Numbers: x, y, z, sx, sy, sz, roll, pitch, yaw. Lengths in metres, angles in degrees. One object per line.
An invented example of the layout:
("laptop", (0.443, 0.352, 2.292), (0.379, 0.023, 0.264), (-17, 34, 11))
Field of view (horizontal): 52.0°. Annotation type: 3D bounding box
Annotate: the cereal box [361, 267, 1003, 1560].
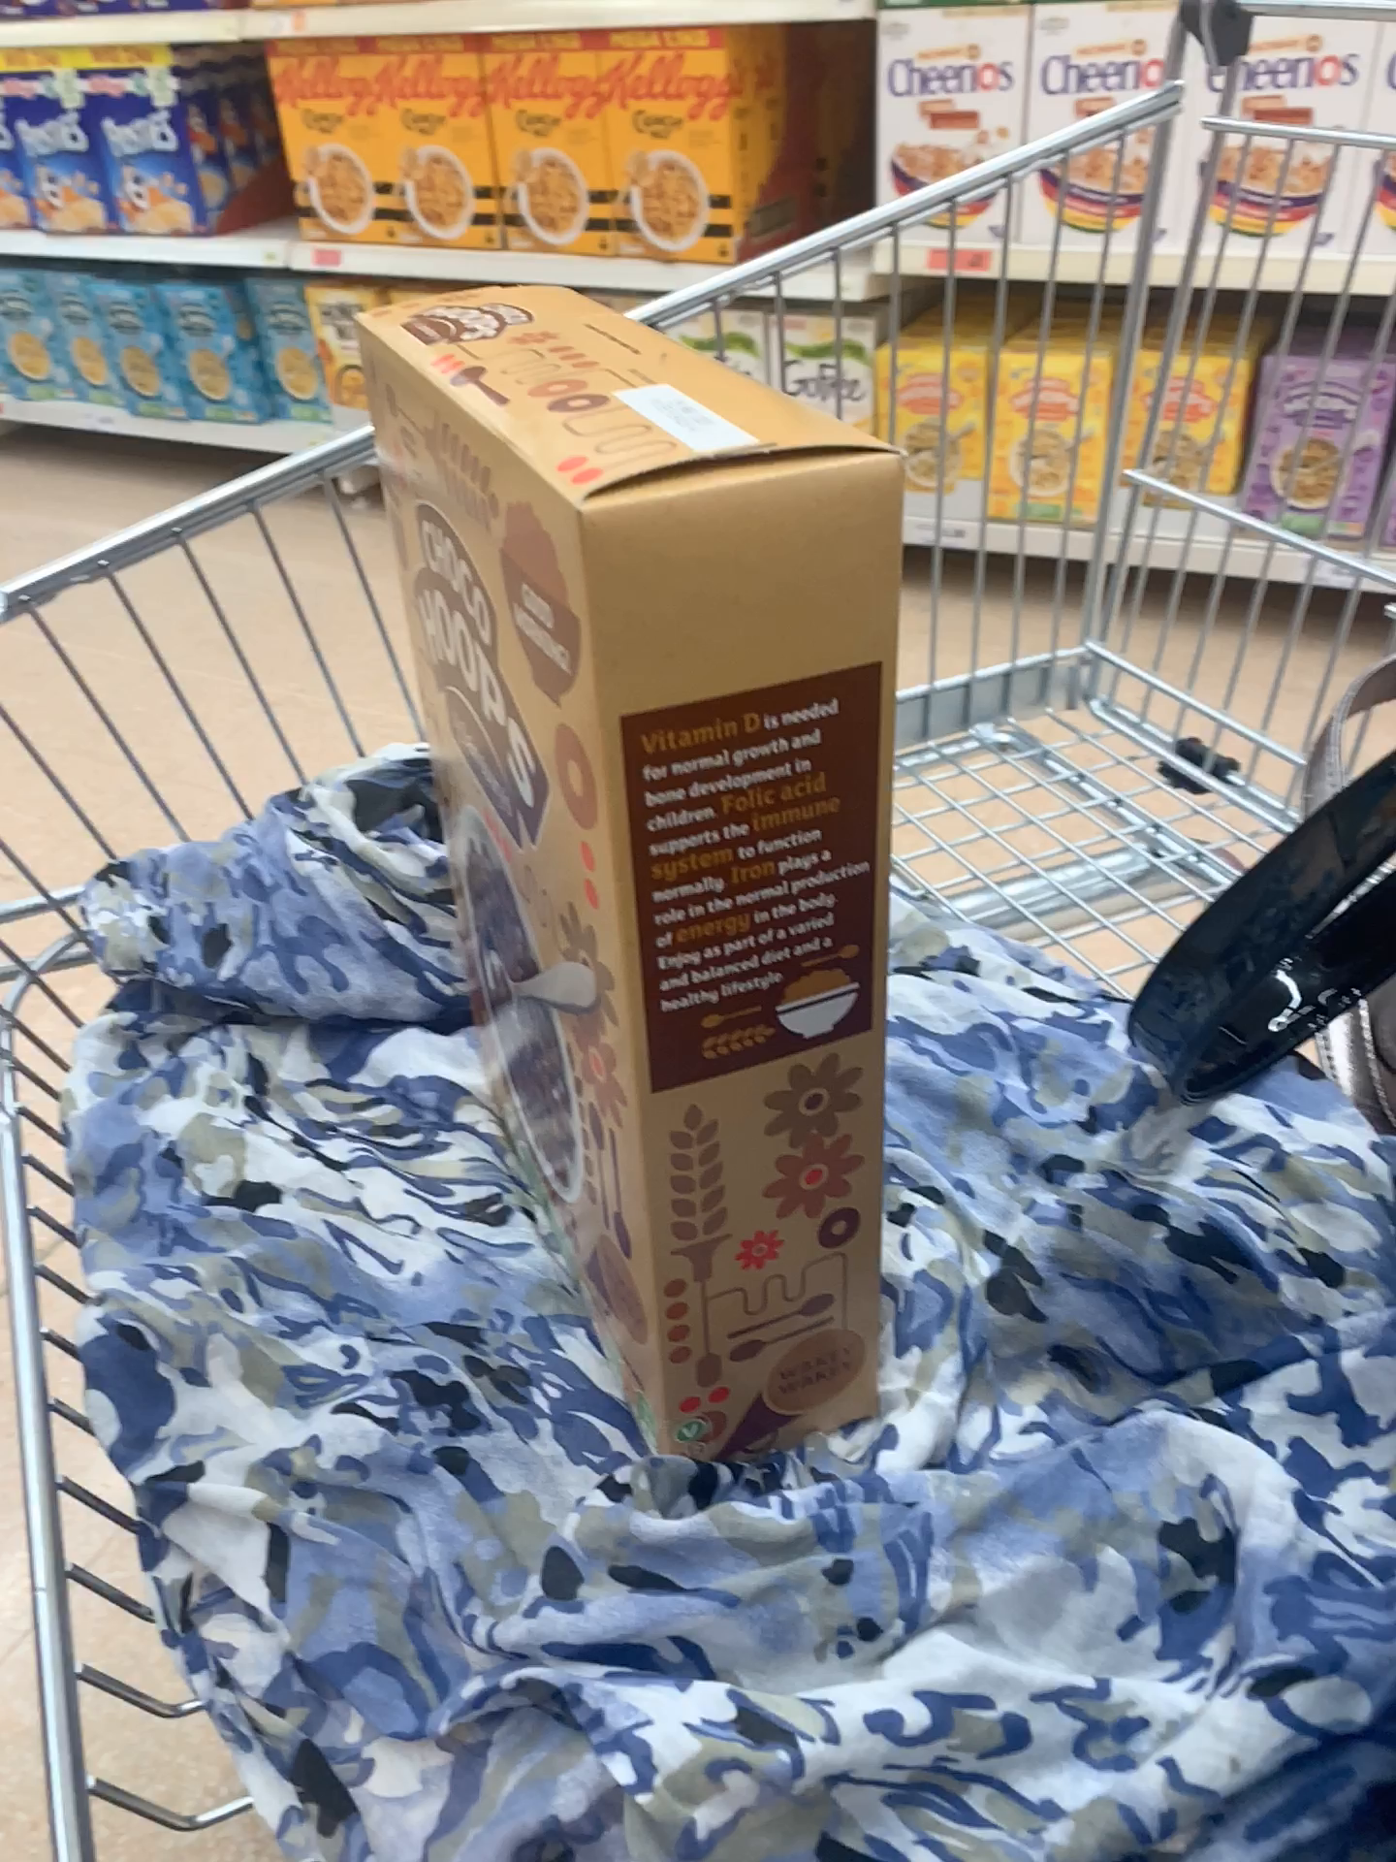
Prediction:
("cereal box", (-0.015, -0.010, 0.417), (0.070, 0.297, 0.222), (-15, 37, -18))
